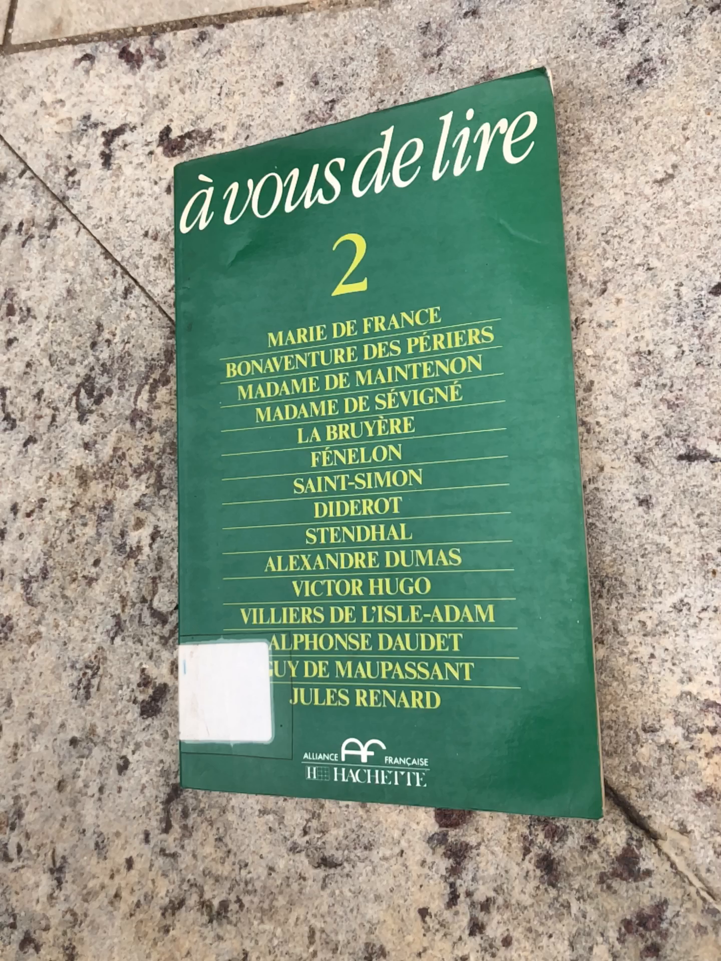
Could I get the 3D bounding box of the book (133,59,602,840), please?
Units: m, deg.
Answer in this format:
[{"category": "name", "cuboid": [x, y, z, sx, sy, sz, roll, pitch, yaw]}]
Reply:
[{"category": "book", "cuboid": [-0.006, -0.009, 0.247, 0.140, 0.017, 0.210, -5, 81, 23]}]
